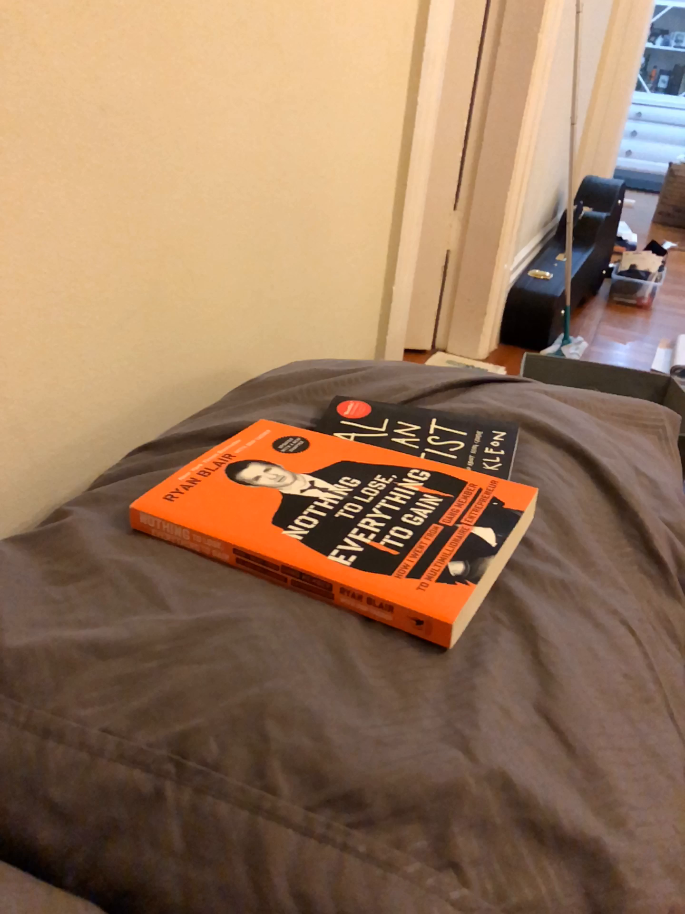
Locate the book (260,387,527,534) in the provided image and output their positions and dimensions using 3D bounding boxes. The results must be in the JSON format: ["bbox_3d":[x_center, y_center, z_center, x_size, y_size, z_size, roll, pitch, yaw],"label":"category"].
[{"bbox_3d":[0.046,-0.005,0.557,0.170,0.020,0.151,8,28,12],"label":"book"}]

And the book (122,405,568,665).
[{"bbox_3d":[0.008,0.031,0.481,0.230,0.020,0.171,17,30,23],"label":"book"}]
